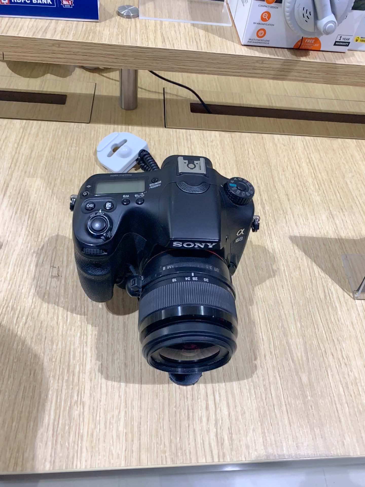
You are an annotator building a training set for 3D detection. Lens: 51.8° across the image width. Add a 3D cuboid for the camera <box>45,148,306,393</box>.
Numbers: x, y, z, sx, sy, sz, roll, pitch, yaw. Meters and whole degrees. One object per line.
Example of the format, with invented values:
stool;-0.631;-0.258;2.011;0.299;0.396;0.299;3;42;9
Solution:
camera;-0.011;0.018;0.266;0.130;0.100;0.135;0;53;-8
